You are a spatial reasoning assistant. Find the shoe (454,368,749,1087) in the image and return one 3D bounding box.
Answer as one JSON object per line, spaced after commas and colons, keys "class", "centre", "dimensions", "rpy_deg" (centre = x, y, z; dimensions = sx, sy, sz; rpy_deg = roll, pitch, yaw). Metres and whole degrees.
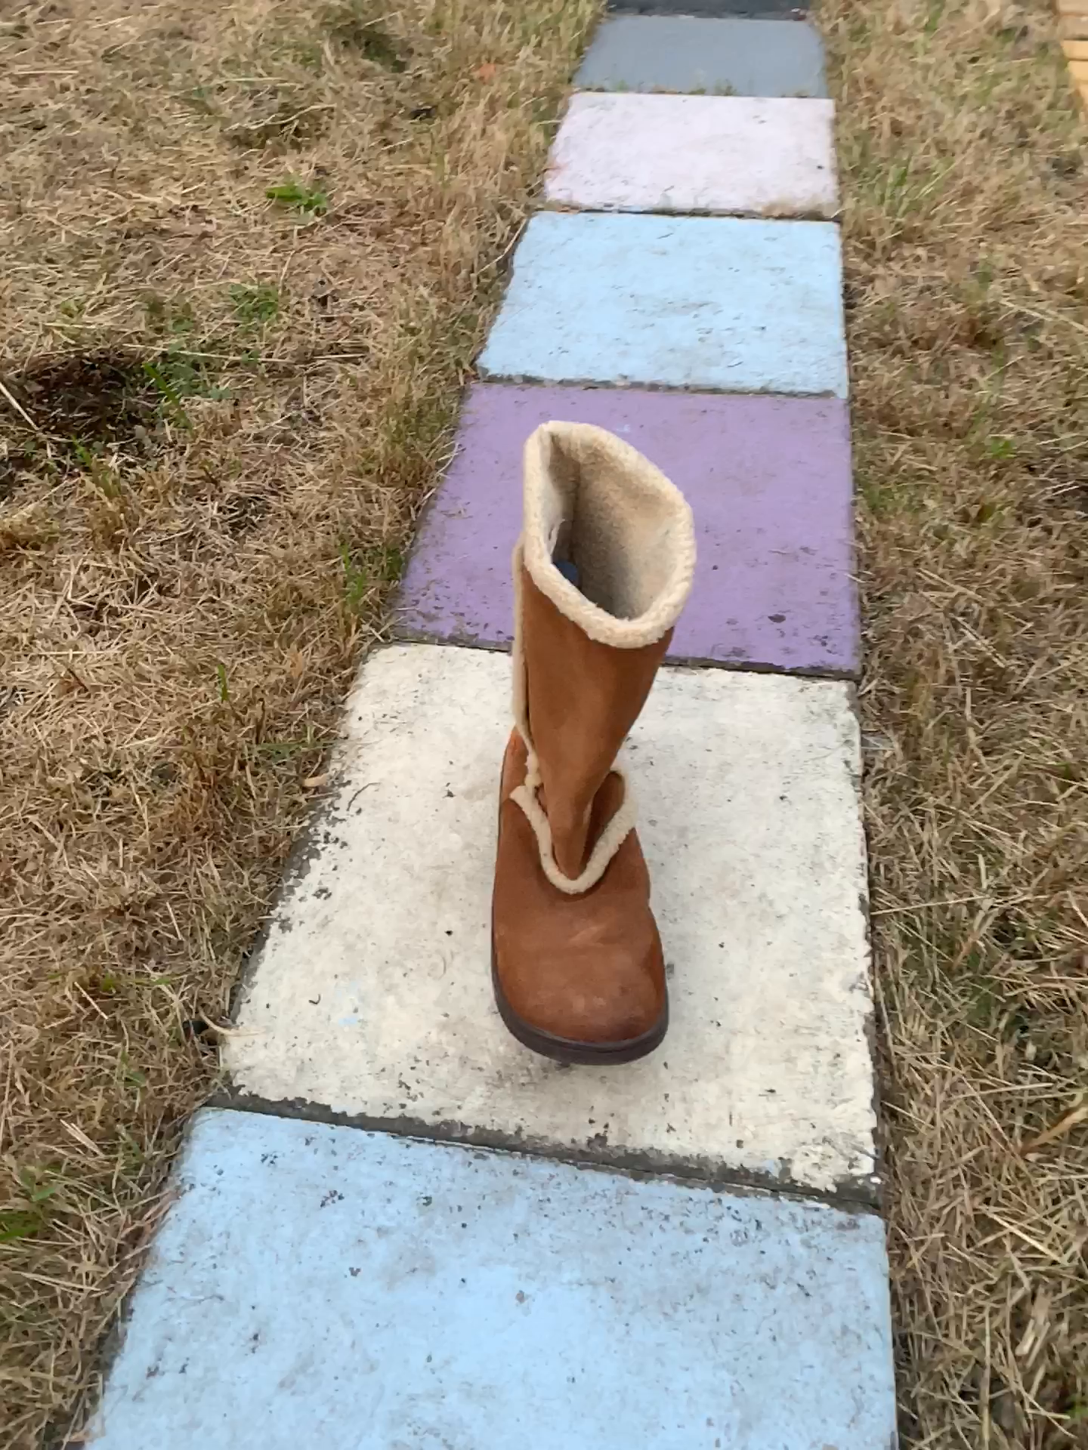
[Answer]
{"class": "shoe", "centre": [0.017, 0.007, 0.610], "dimensions": [0.110, 0.297, 0.262], "rpy_deg": [-1, 47, -1]}
